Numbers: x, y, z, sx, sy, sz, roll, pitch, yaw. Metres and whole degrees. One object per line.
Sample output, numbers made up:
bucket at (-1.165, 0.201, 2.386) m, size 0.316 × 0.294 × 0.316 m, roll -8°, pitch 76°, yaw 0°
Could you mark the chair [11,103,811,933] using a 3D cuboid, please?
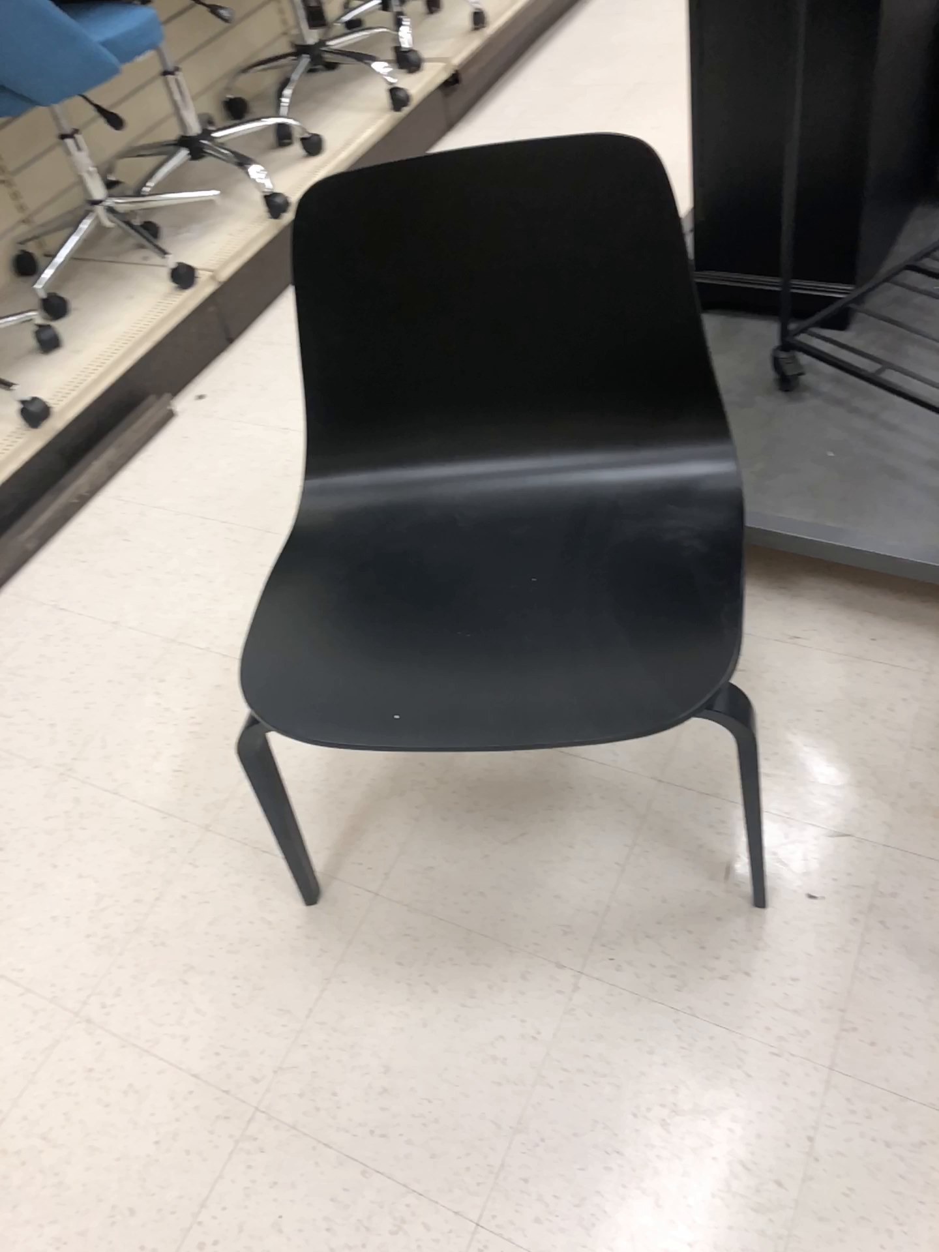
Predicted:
chair at (0.030, -0.096, 1.263) m, size 0.640 × 0.717 × 0.632 m, roll -2°, pitch 46°, yaw 12°
